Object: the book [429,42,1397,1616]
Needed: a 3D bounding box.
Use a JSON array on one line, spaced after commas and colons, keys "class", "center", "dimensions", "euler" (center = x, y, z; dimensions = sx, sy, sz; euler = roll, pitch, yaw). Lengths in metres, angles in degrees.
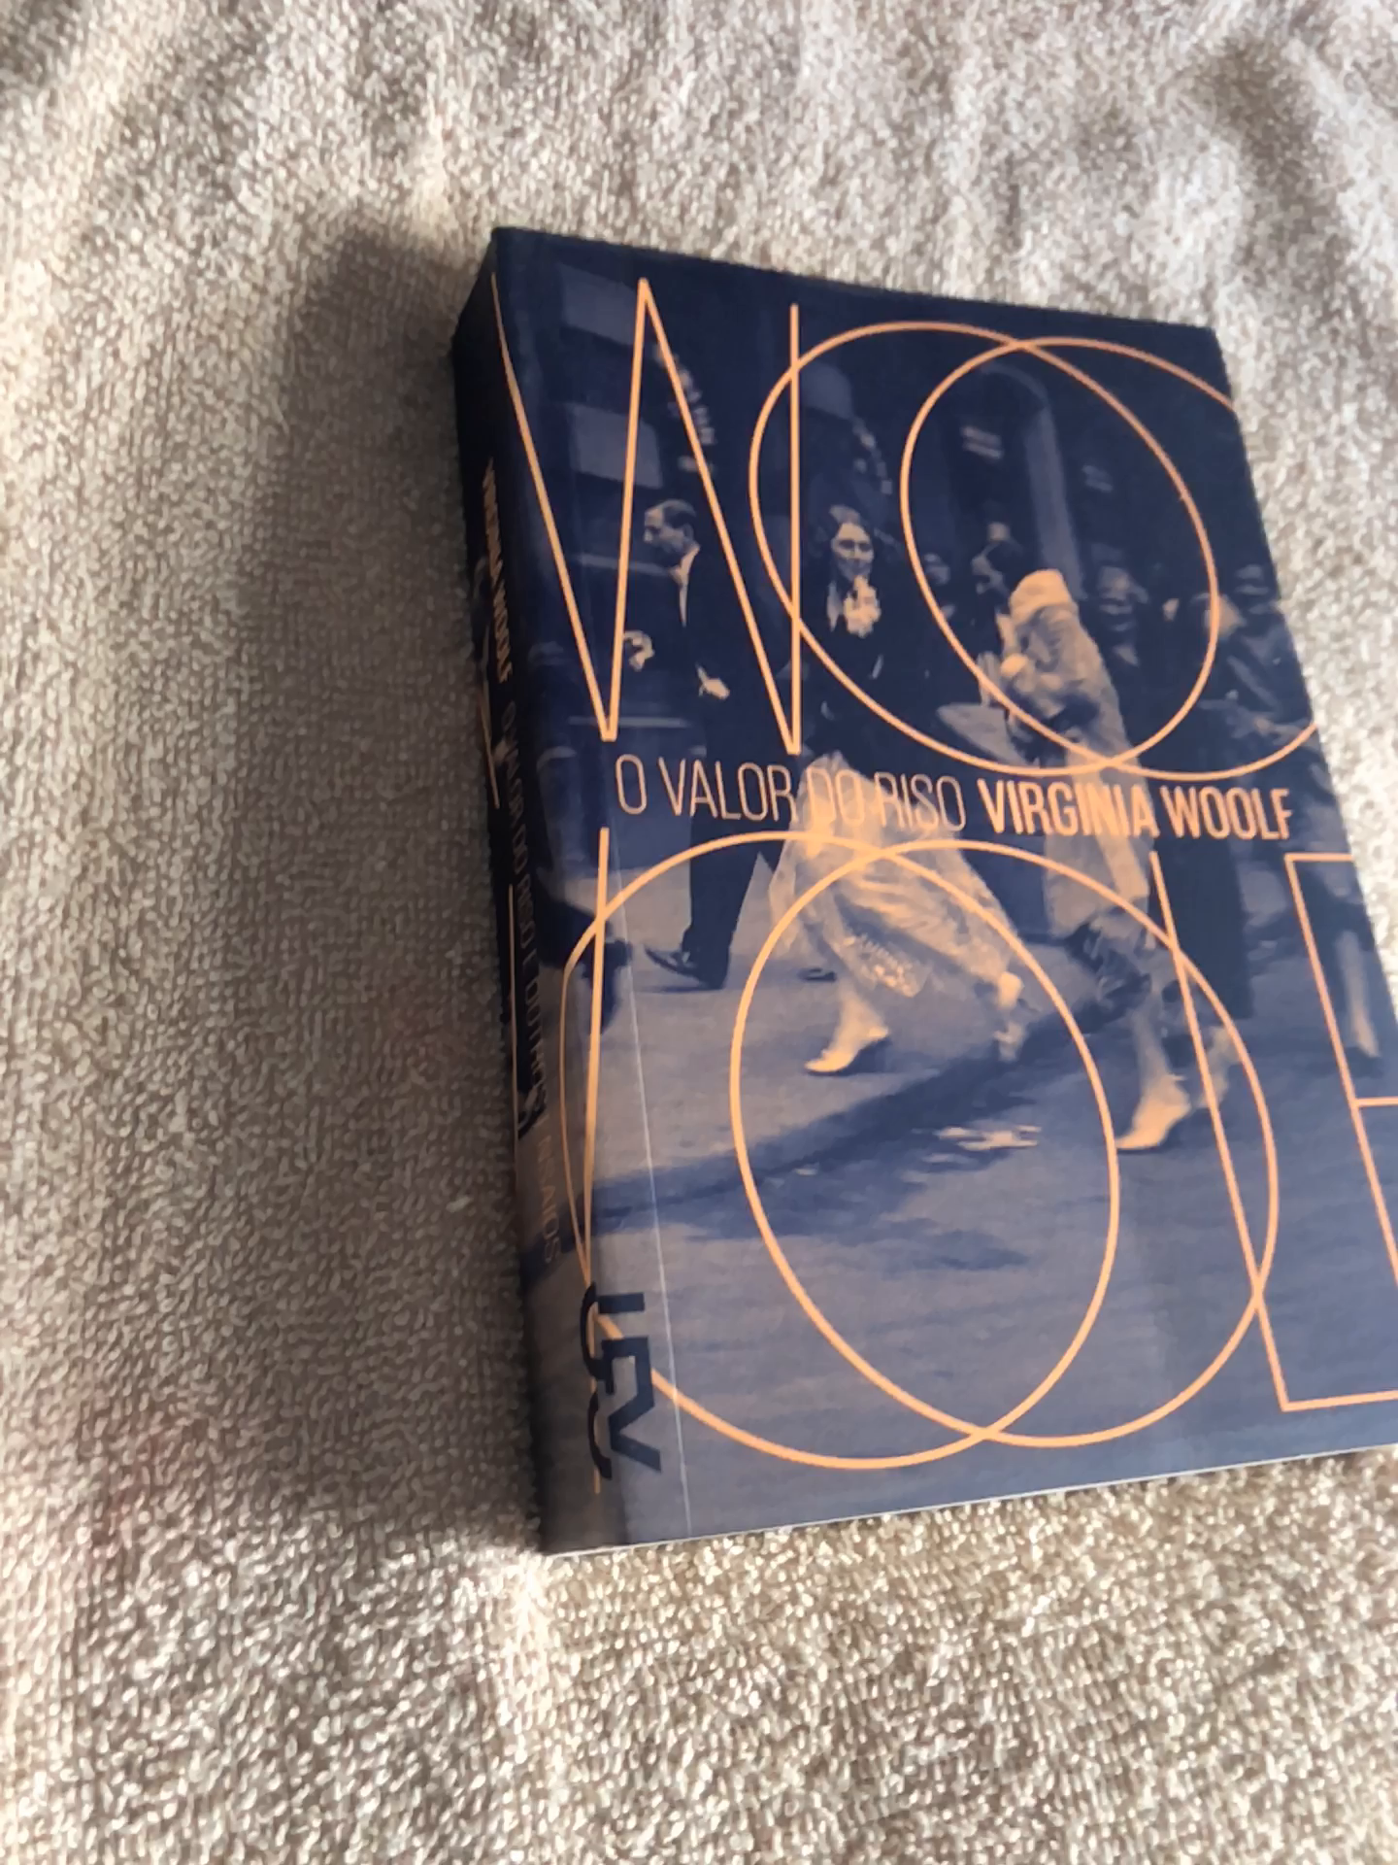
[{"class": "book", "center": [0.040, -0.016, 0.225], "dimensions": [0.140, 0.050, 0.190], "euler": [2, 71, -23]}]
